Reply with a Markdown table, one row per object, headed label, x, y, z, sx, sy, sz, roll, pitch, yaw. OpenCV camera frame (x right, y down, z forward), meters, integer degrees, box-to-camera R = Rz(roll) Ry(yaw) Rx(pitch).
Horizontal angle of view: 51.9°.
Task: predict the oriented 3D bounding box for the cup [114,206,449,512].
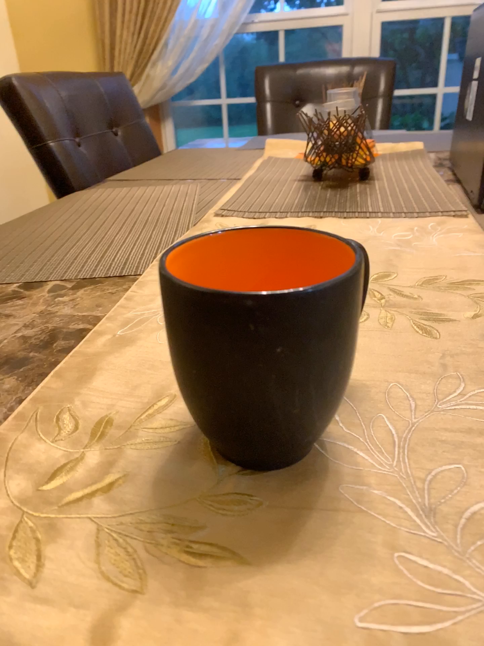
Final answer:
| label | x | y | z | sx | sy | sz | roll | pitch | yaw |
| --- | --- | --- | --- | --- | --- | --- | --- | --- | --- |
| cup | 0.024 | 0.002 | 0.260 | 0.133 | 0.087 | 0.100 | -25 | 33 | -37 |
